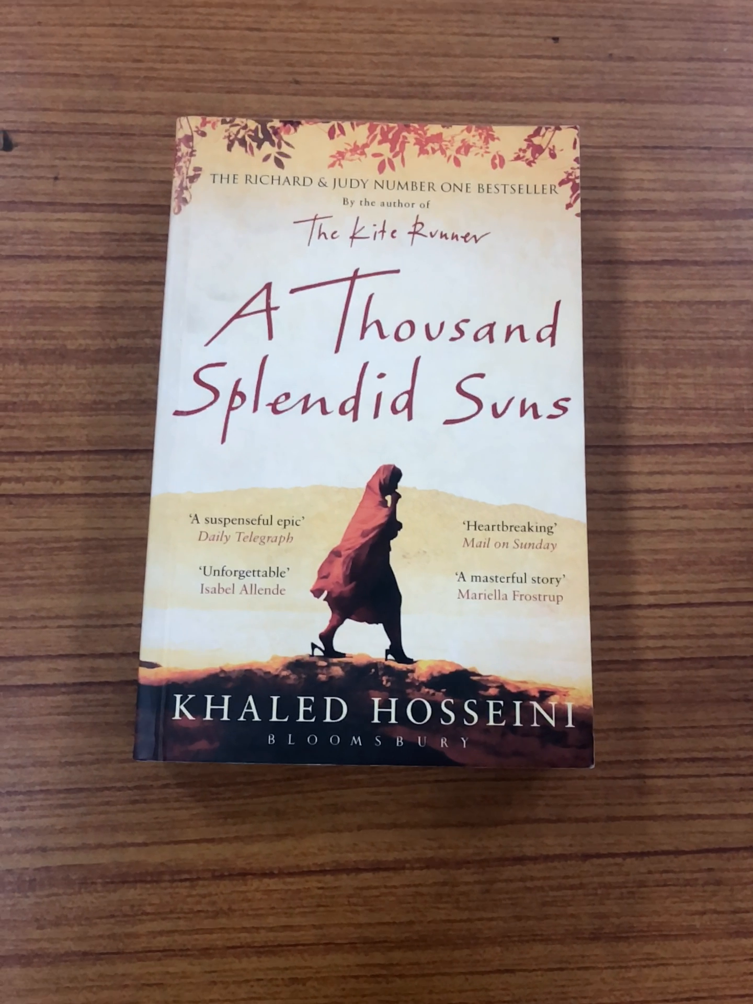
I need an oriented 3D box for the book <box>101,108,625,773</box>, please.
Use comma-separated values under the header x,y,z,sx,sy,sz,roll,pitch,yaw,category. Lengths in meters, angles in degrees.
x,y,z,sx,sy,sz,roll,pitch,yaw,category
-0.002,-0.020,0.255,0.140,0.030,0.190,1,81,-3,book
